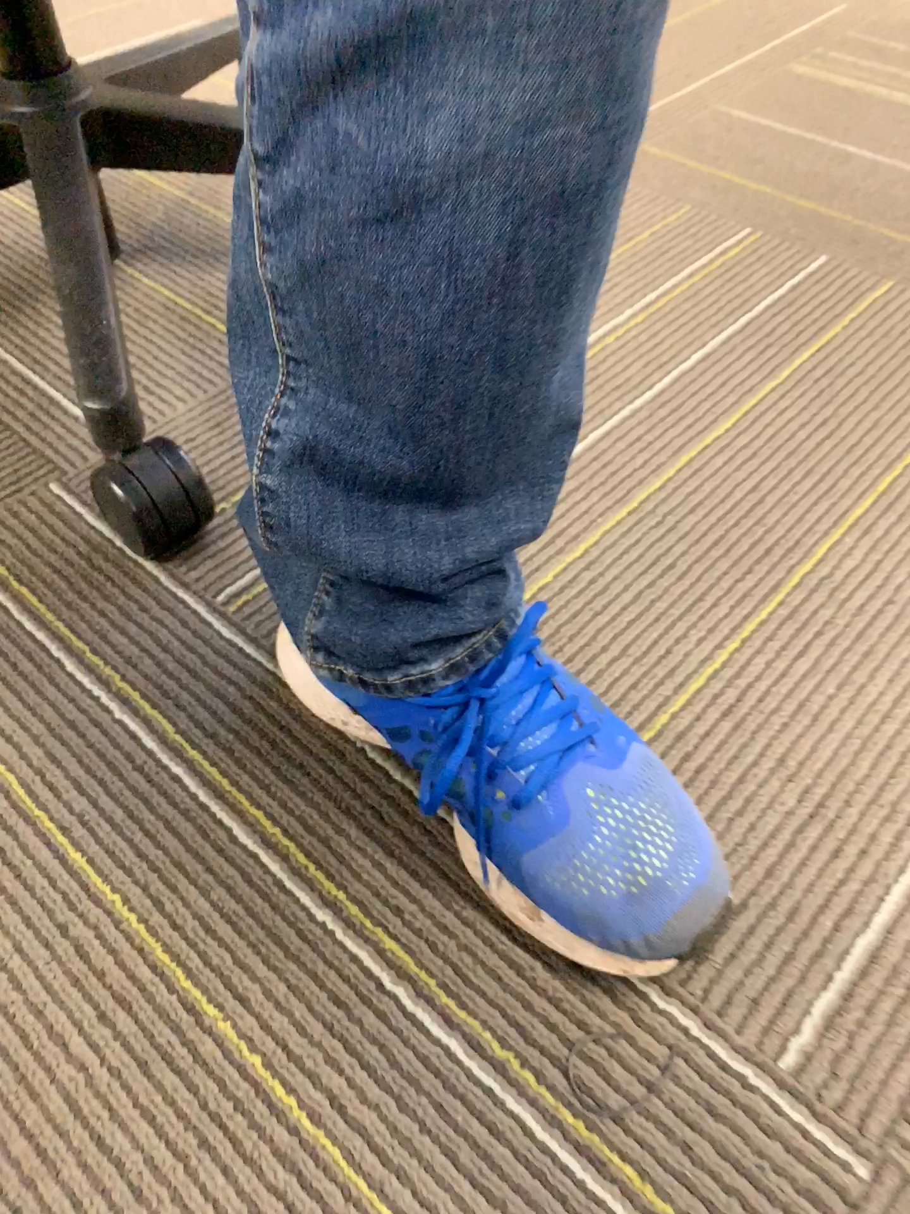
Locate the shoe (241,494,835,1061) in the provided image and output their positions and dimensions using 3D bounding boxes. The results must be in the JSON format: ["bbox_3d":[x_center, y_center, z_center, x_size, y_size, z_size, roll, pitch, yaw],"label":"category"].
[{"bbox_3d":[0.025,0.067,0.471,0.101,0.086,0.284,-36,57,-27],"label":"shoe"}]
